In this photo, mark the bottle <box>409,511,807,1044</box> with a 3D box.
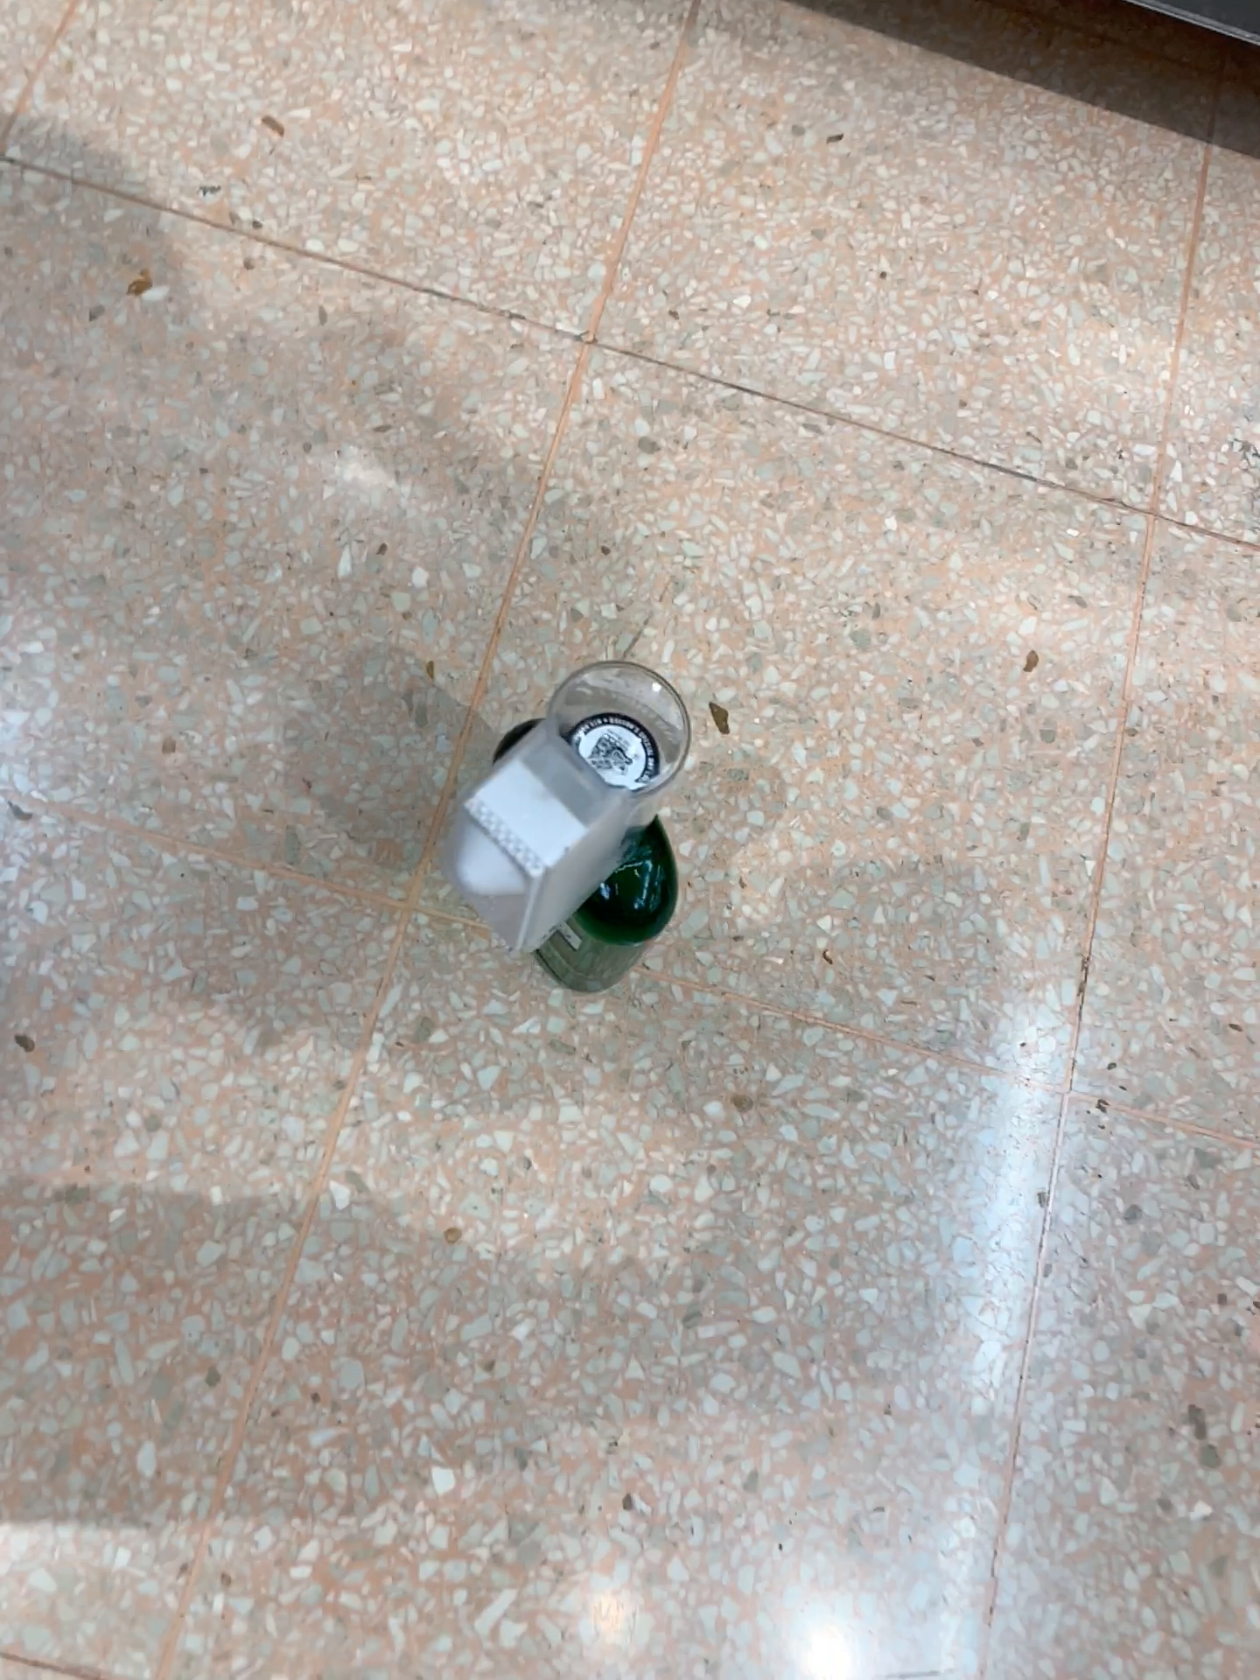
[{"bbox_3d":[-0.020,-0.004,0.421,0.055,0.204,0.102,-30,80,-15],"label":"bottle"}]
